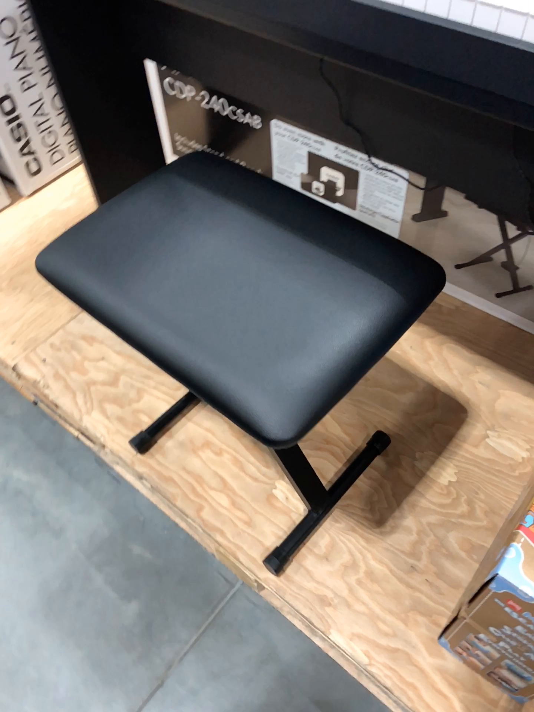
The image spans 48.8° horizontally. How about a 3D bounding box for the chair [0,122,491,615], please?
[{"bbox_3d":[-0.061,-0.018,0.783,0.511,0.279,0.370,34,62,26],"label":"chair"}]
